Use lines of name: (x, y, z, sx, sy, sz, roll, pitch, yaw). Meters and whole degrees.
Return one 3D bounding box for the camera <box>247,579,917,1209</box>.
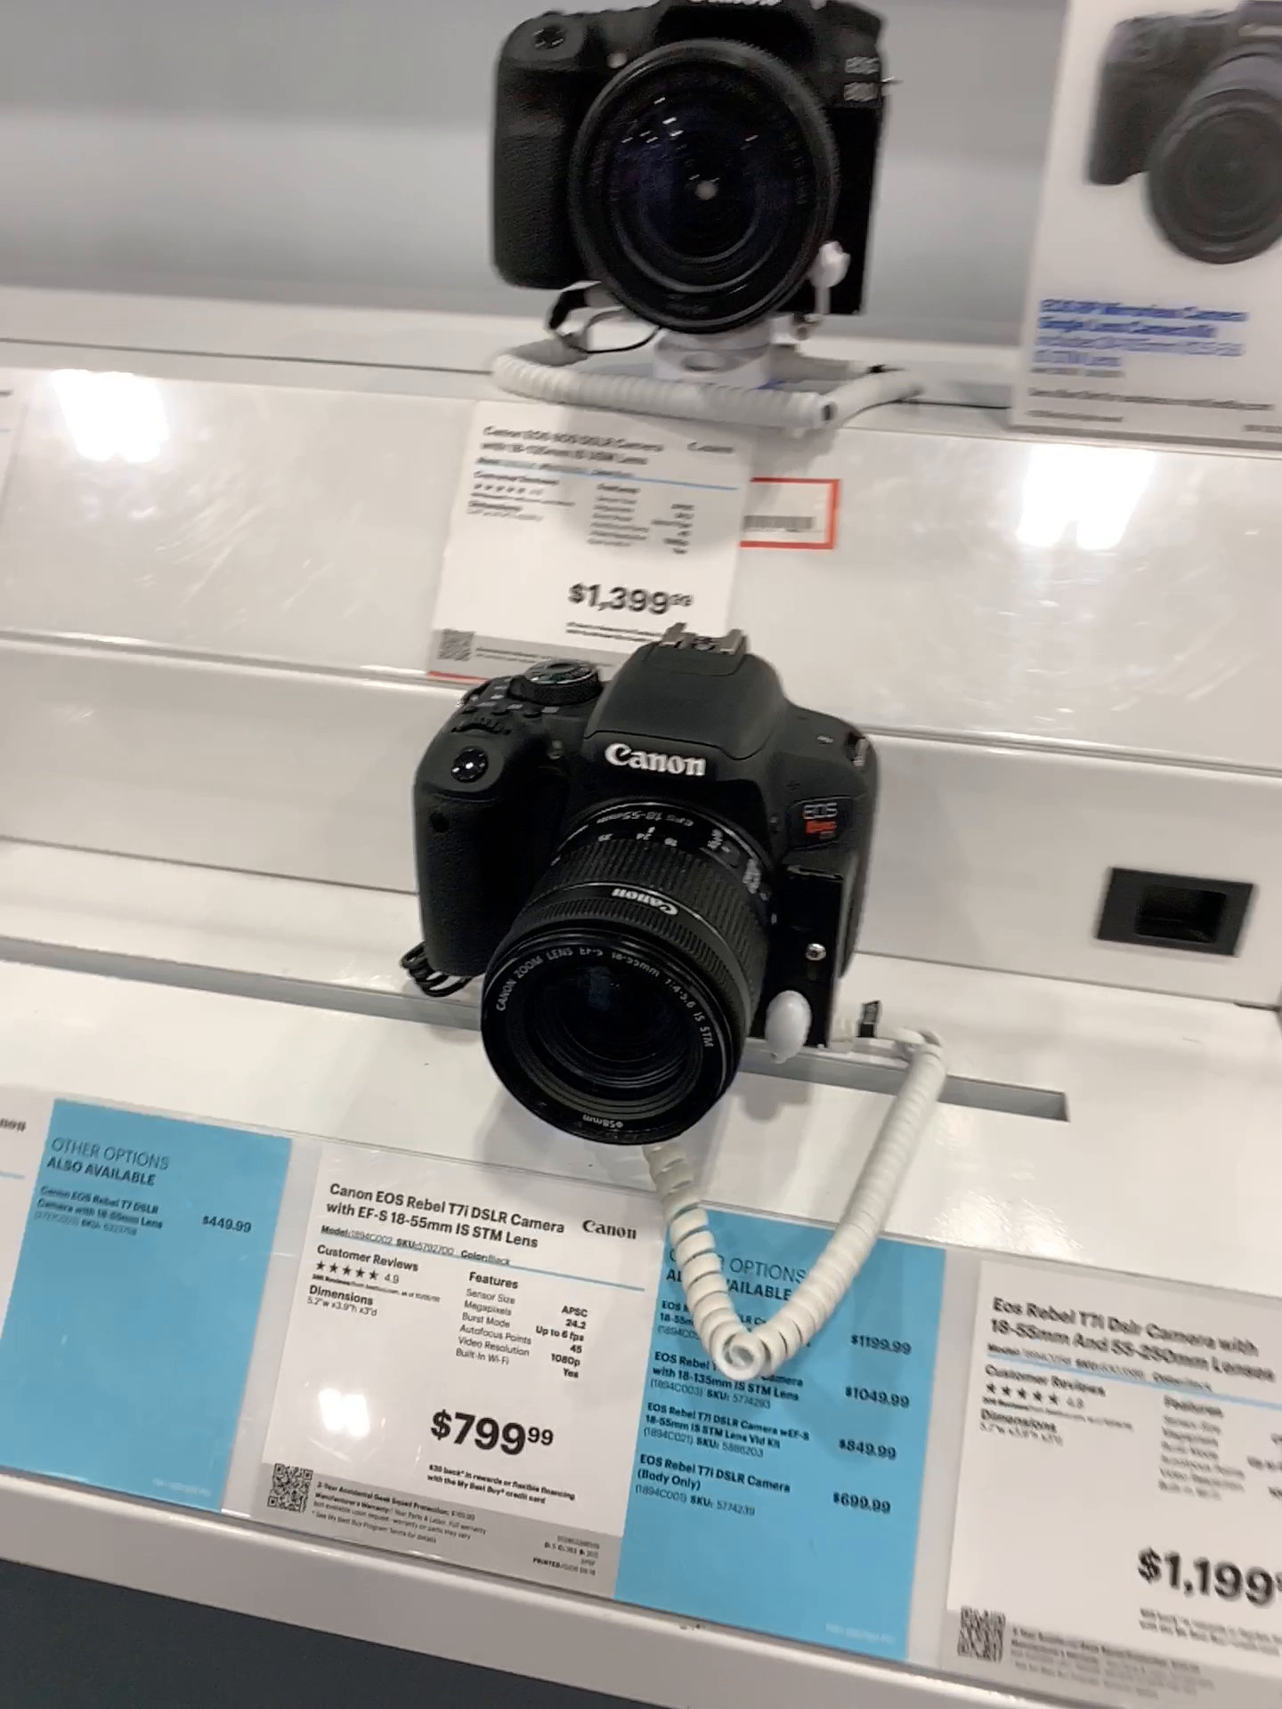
camera: (-0.005, 0.000, 0.355, 0.140, 0.099, 0.131, 8, 29, 10)
